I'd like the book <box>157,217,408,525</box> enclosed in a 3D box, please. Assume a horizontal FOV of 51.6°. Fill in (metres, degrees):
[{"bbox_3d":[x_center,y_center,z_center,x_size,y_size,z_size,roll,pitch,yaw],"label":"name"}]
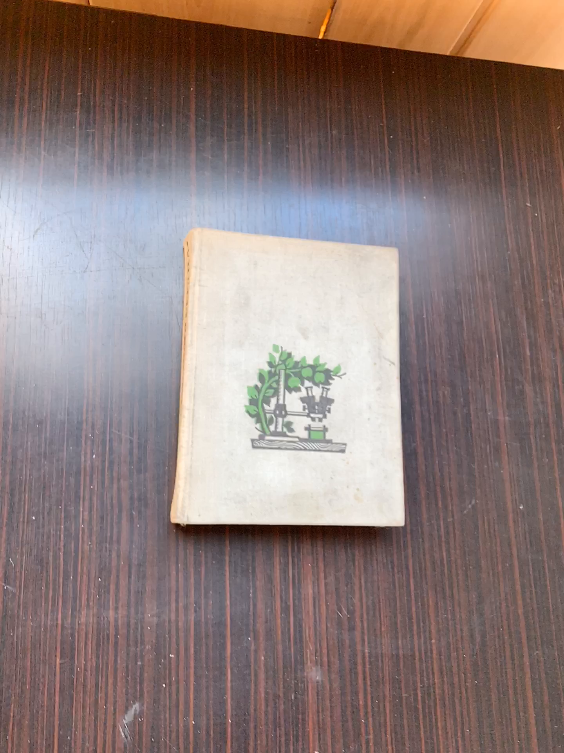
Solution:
[{"bbox_3d":[0.001,-0.002,0.338,0.136,0.028,0.169,2,78,-11],"label":"book"}]
